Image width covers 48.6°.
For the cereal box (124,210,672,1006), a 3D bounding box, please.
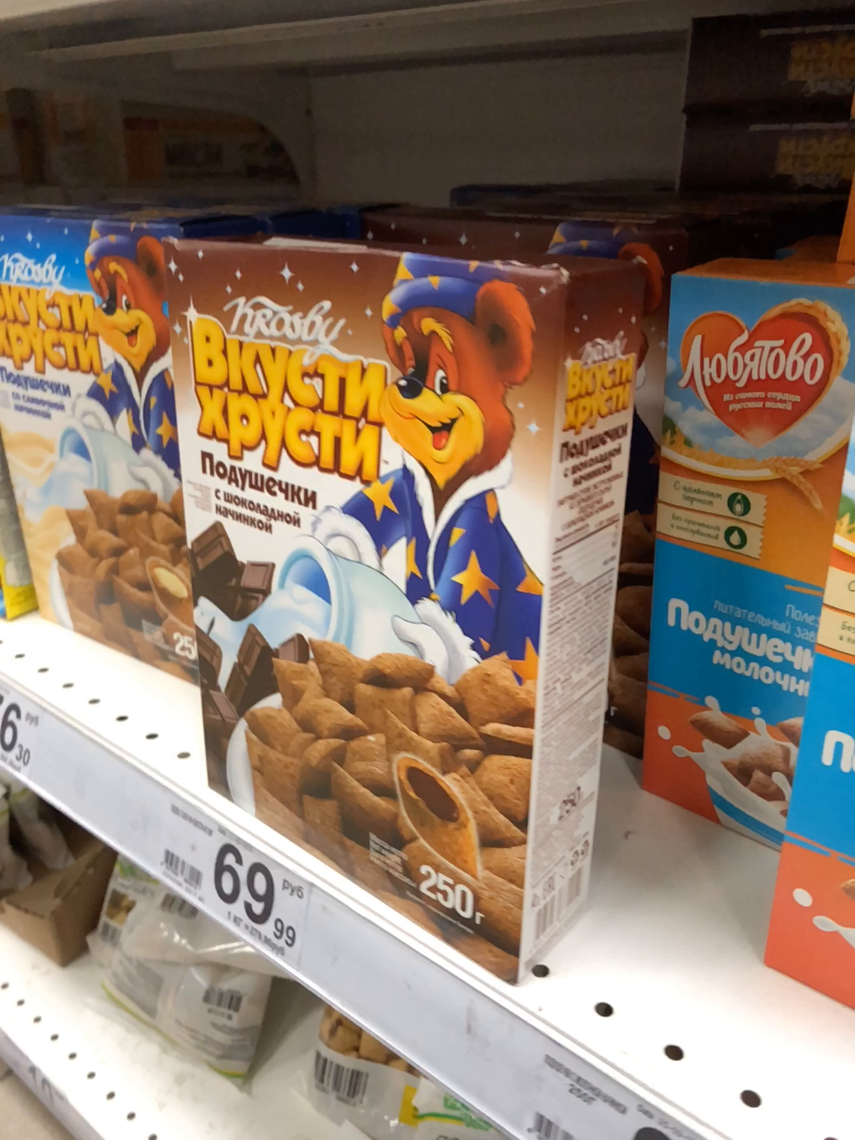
[{"bbox_3d":[-0.022,0.001,0.329,0.180,0.229,0.050,19,28,38],"label":"cereal box"}]
